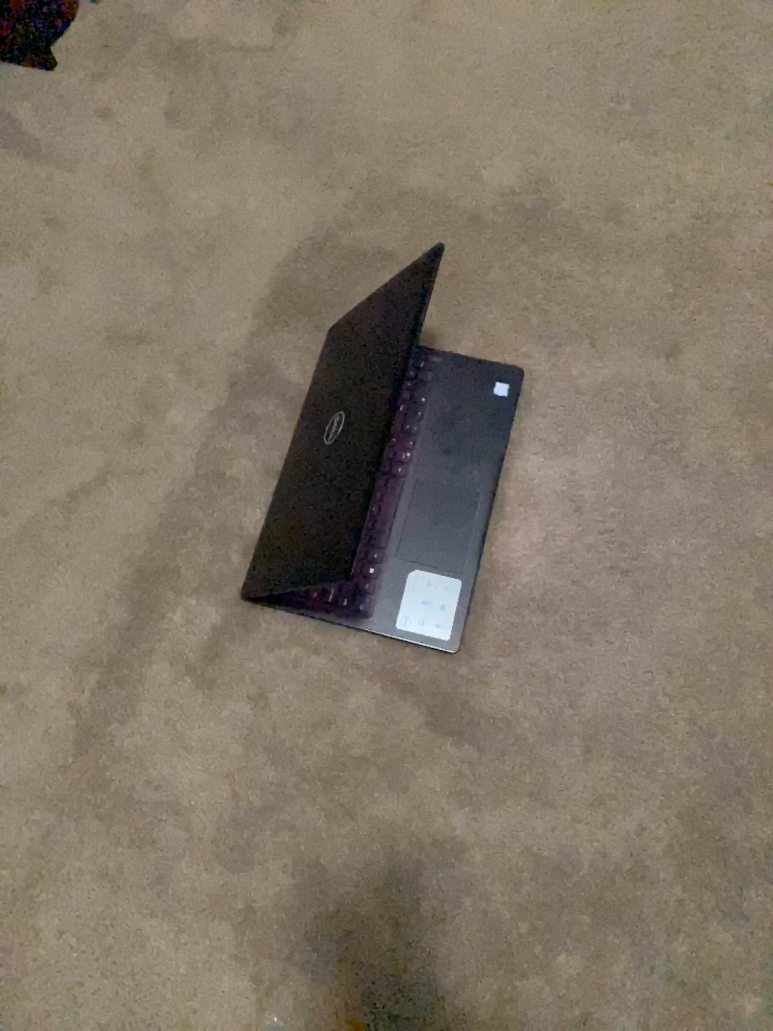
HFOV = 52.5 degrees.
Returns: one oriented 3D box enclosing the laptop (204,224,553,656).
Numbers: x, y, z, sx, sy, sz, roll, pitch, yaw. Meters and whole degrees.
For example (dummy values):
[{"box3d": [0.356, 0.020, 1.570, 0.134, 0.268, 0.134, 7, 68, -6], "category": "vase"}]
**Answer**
[{"box3d": [0.009, -0.079, 0.864, 0.251, 0.202, 0.377, 14, 70, 6], "category": "laptop"}]
